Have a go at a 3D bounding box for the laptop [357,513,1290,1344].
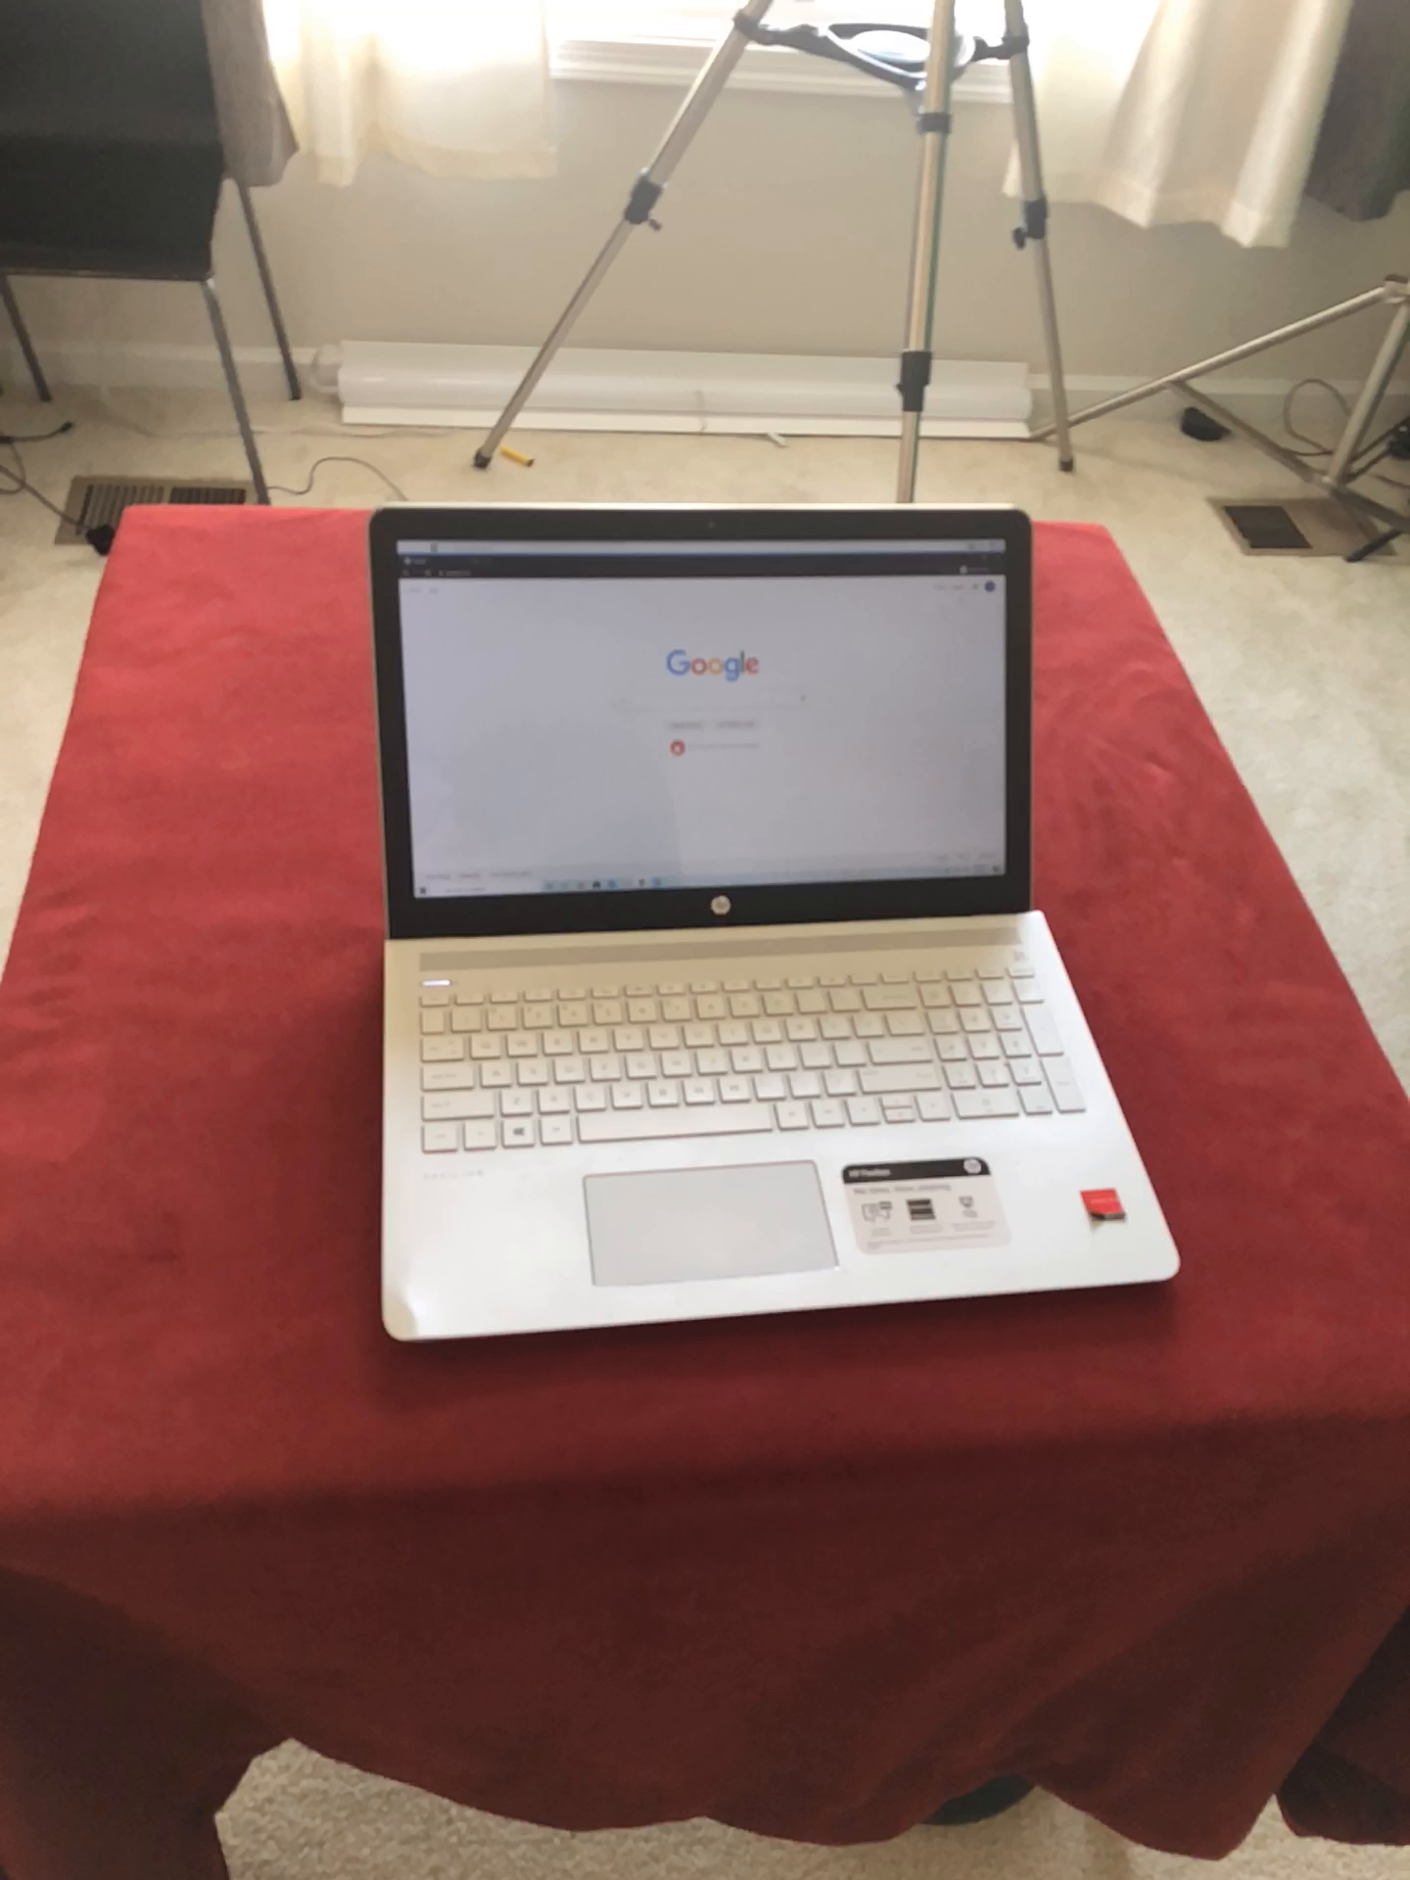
[{"bbox_3d":[0.021,-0.032,0.769,0.360,0.158,0.397,-2,48,-9],"label":"laptop"}]
